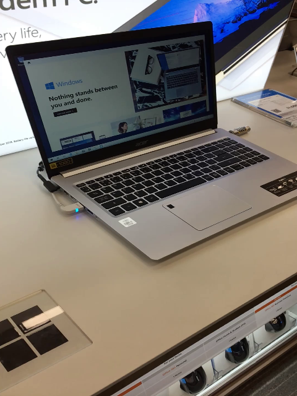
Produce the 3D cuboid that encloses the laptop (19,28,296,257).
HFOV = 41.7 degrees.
[{"bbox_3d":[0.071,-0.119,0.630,0.377,0.202,0.311,-24,49,-31],"label":"laptop"}]
